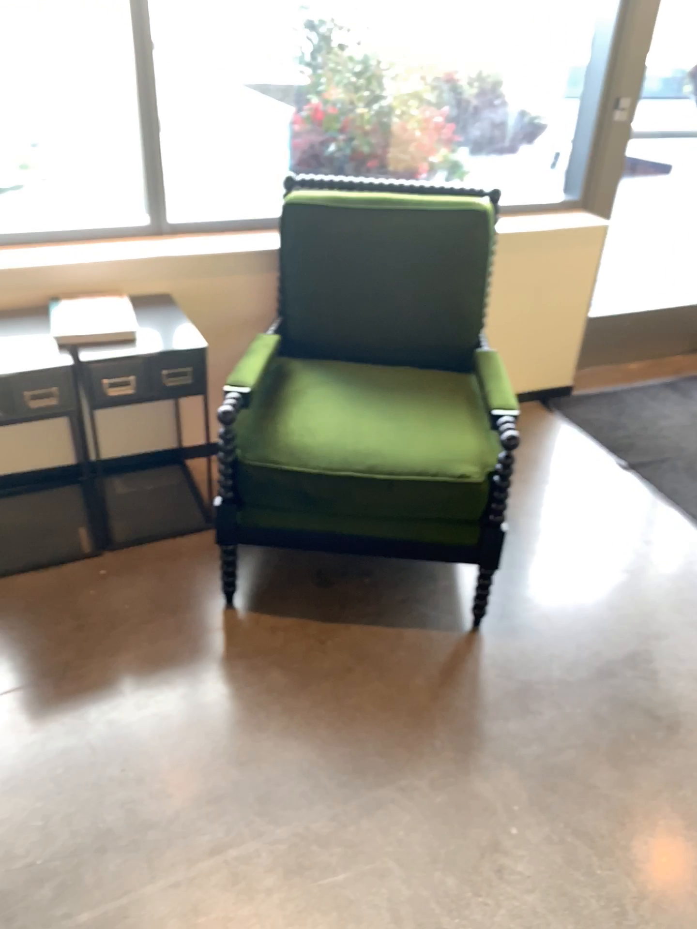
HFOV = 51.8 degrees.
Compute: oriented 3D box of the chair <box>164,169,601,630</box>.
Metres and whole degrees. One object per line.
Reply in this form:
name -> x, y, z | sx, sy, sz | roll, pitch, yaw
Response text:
chair -> 0.083, -0.245, 2.071 | 0.870, 0.924, 0.946 | 5, 33, 3
